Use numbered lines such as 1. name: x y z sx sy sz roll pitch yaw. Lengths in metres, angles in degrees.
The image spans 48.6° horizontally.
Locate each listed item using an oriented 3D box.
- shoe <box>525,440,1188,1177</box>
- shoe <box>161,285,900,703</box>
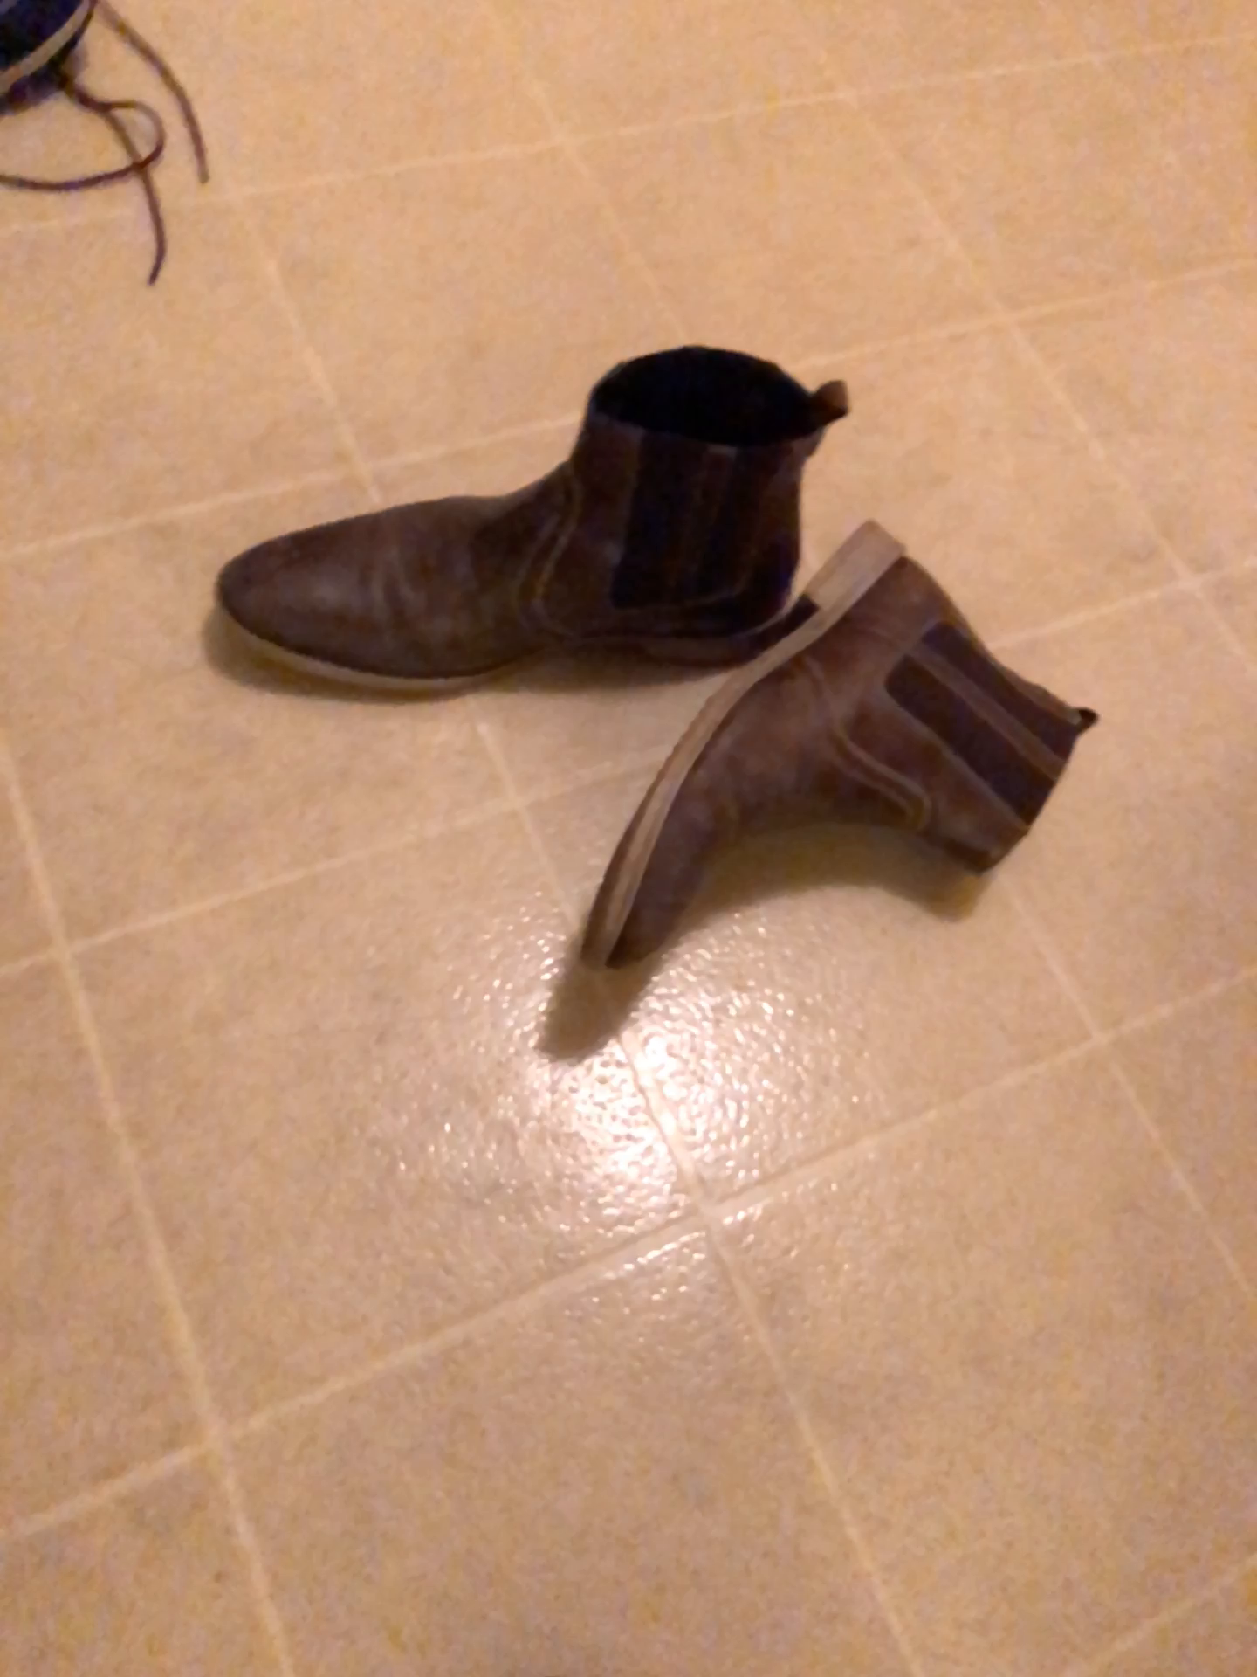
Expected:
1. shoe: 0.114 -0.023 0.675 0.161 0.111 0.314 36 63 6
2. shoe: -0.052 -0.157 0.683 0.313 0.161 0.112 0 64 -11
